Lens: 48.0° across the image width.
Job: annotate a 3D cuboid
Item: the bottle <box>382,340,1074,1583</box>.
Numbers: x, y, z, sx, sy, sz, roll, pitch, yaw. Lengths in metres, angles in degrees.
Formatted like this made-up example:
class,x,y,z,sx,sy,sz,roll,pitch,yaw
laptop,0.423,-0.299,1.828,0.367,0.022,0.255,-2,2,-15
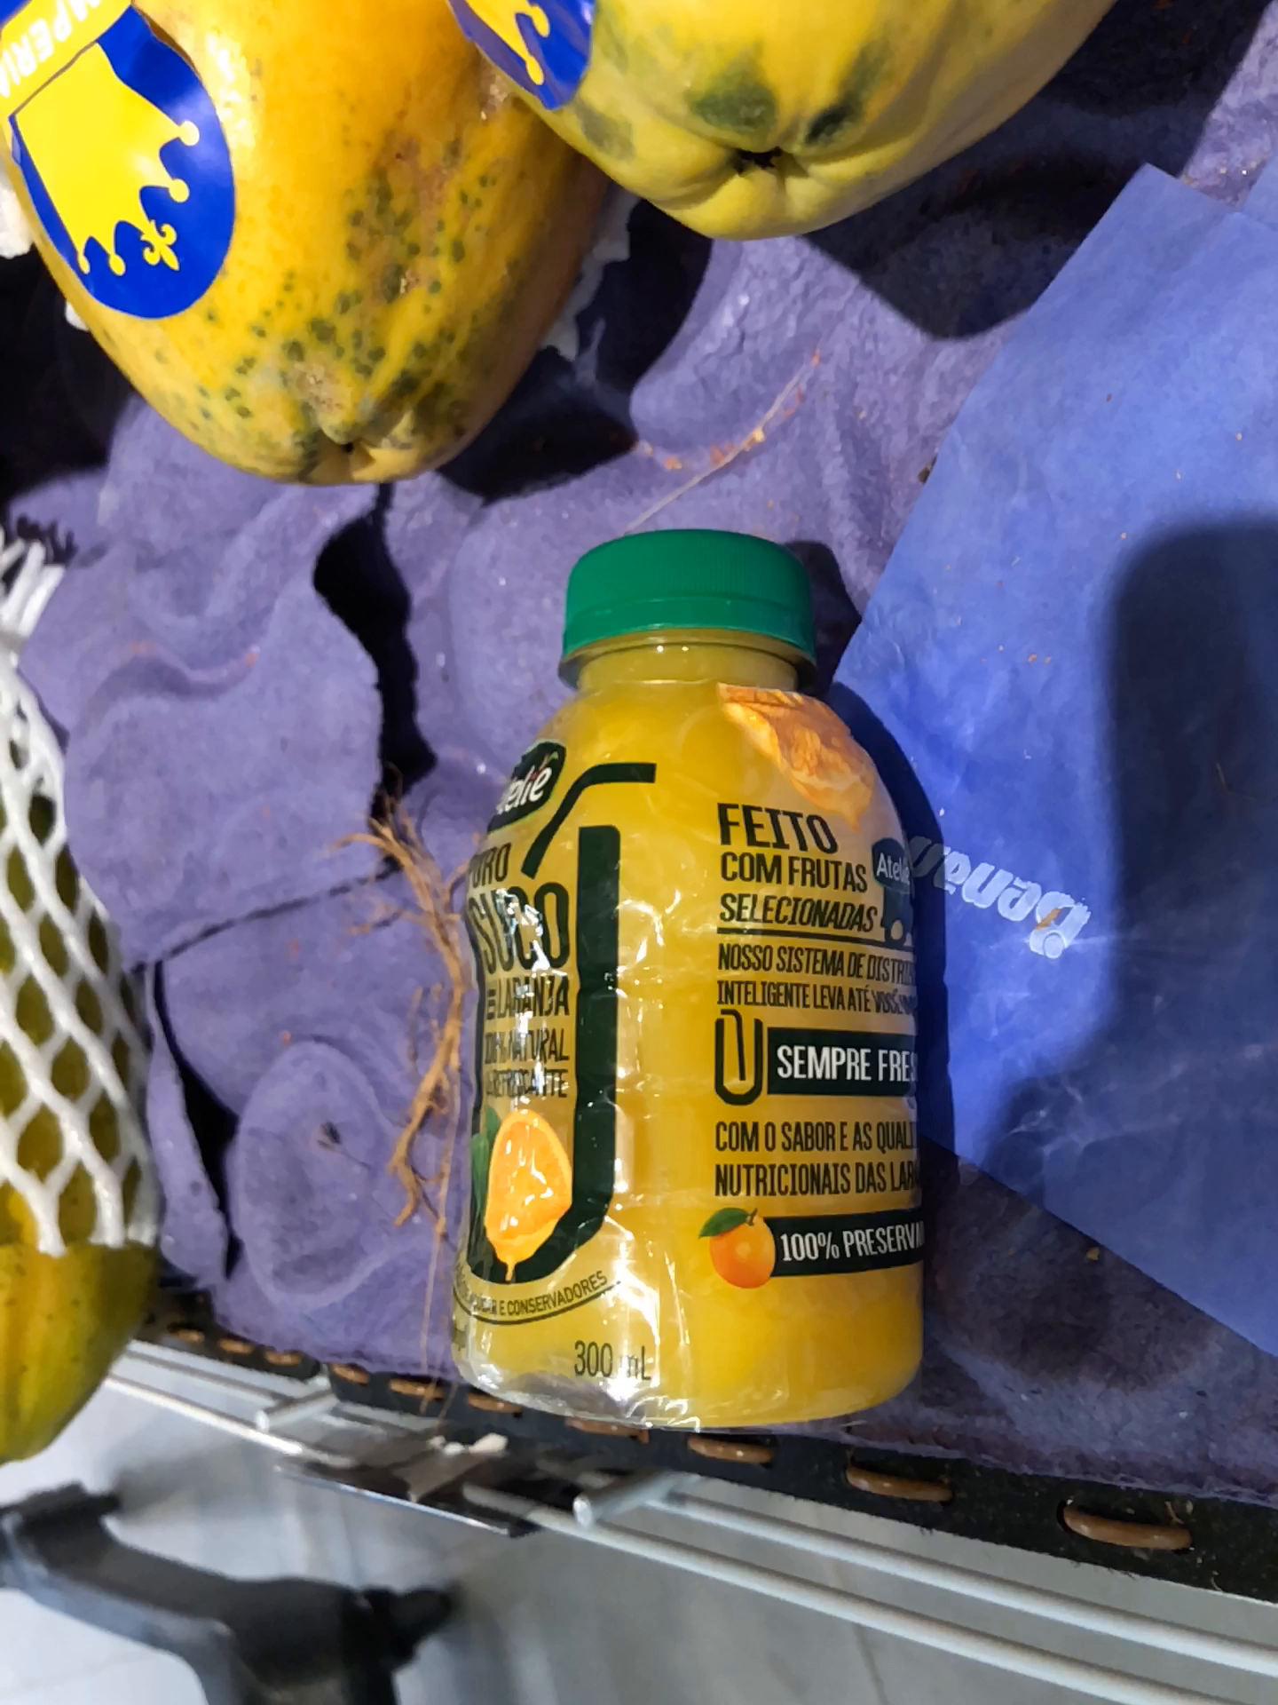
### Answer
class,x,y,z,sx,sy,sz,roll,pitch,yaw
bottle,0.010,0.013,0.208,0.070,0.060,0.140,-7,84,49
